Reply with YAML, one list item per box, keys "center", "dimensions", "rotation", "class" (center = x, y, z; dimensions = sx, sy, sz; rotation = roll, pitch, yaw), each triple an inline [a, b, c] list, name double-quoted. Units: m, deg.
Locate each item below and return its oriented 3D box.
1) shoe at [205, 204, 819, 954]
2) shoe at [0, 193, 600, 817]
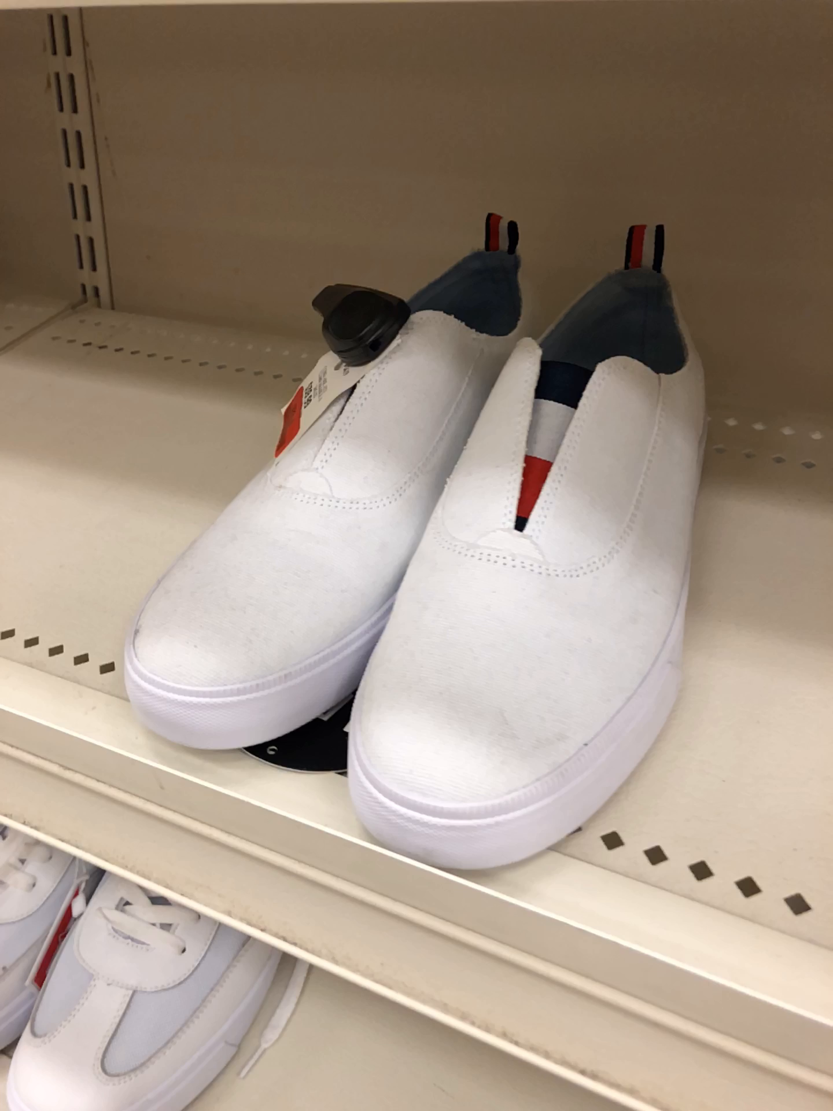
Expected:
- center: [0.065, -0.030, 0.343]
  dimensions: [0.100, 0.109, 0.302]
  rotation: [14, 39, 24]
  class: "shoe"
- center: [-0.025, -0.053, 0.357]
  dimensions: [0.100, 0.089, 0.292]
  rotation: [14, 39, 24]
  class: "shoe"
